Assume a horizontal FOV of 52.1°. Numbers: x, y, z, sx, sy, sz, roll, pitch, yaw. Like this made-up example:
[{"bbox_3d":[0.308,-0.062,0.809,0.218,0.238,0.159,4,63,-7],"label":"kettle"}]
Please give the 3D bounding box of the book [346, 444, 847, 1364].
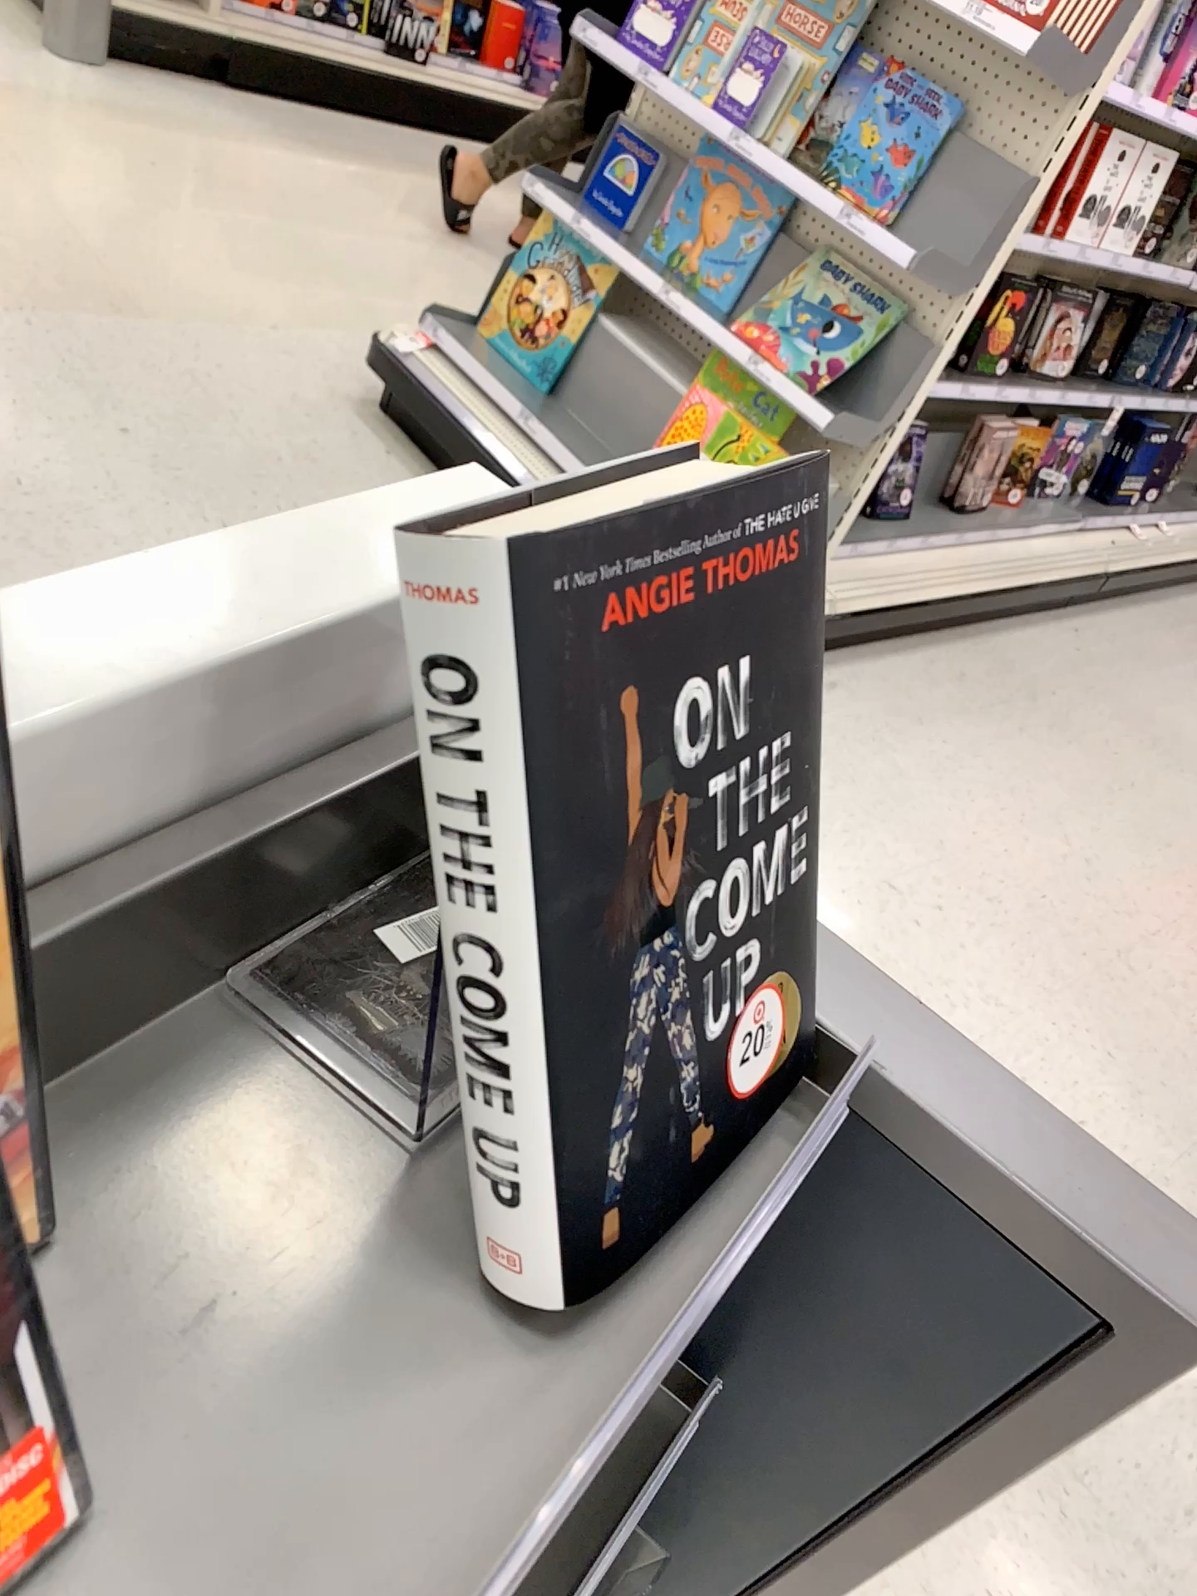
[{"bbox_3d":[0.013,0.020,0.361,0.056,0.222,0.149,12,27,32],"label":"book"}]
